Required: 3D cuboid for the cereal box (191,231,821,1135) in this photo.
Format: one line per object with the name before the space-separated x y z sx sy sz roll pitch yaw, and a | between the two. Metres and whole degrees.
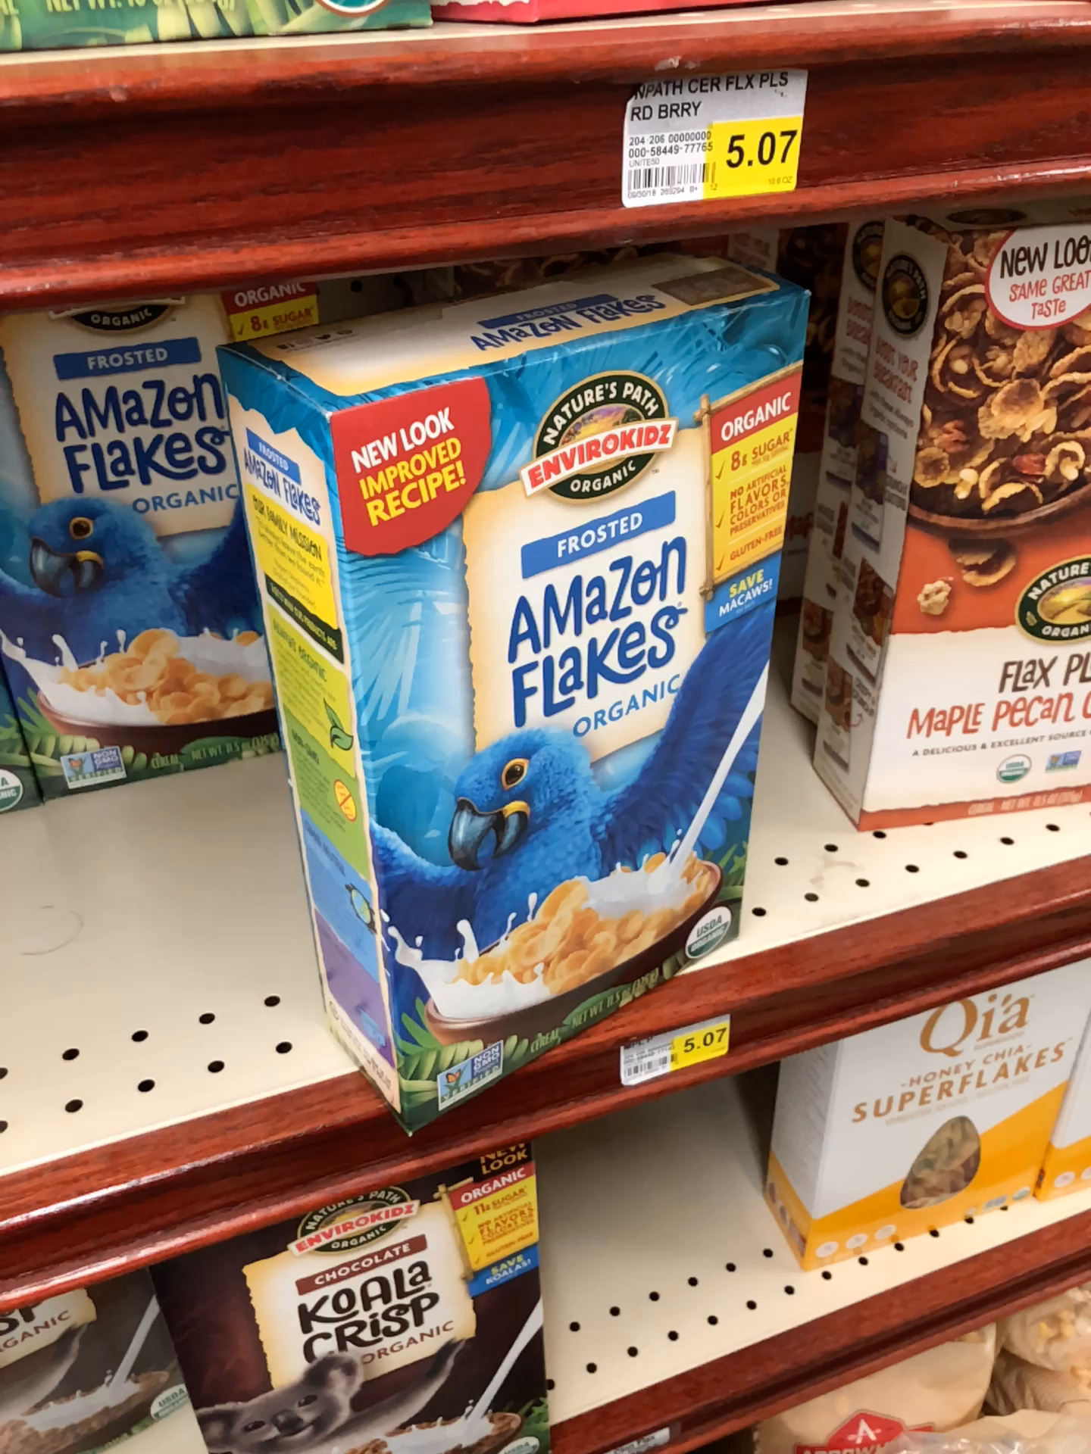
cereal box | -0.005 -0.007 0.396 0.160 0.259 0.060 -24 43 -28
